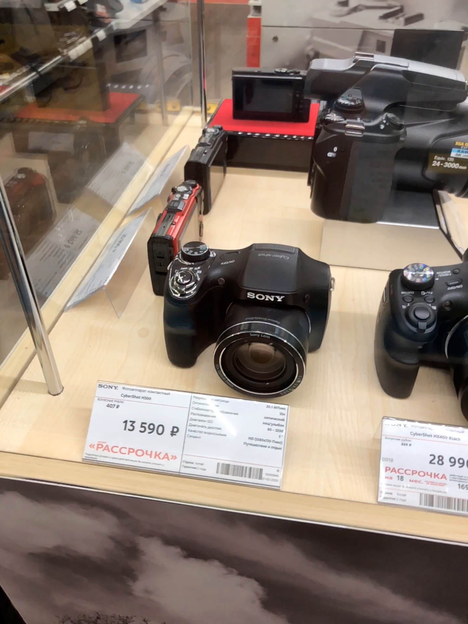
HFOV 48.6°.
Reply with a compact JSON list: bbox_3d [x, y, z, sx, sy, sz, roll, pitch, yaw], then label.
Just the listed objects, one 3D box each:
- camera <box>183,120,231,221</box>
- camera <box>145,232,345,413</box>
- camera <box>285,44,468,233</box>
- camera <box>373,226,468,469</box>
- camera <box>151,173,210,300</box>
[{"bbox_3d":[-0.027,-0.160,0.578,0.026,0.069,0.112,7,40,8],"label":"camera"},{"bbox_3d":[0.013,0.004,0.382,0.124,0.078,0.092,7,40,8],"label":"camera"},{"bbox_3d":[0.136,-0.154,0.444,0.168,0.106,0.133,5,39,7],"label":"camera"},{"bbox_3d":[0.170,0.019,0.365,0.124,0.097,0.125,7,40,8],"label":"camera"},{"bbox_3d":[-0.046,-0.073,0.485,0.026,0.069,0.112,5,39,7],"label":"camera"}]
